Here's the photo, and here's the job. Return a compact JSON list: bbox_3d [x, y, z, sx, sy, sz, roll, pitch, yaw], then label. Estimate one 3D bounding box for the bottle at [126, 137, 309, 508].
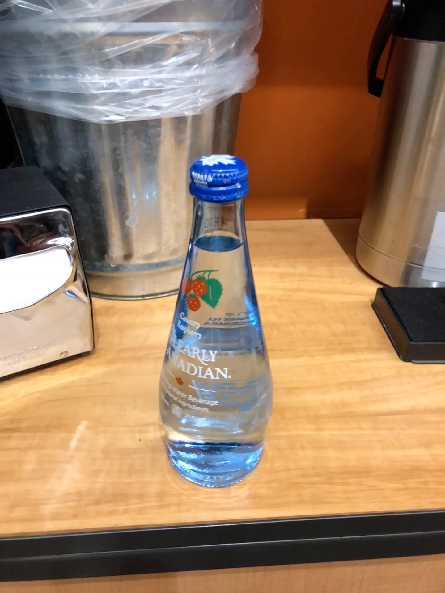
[{"bbox_3d":[-0.002,0.019,0.273,0.060,0.189,0.060,1,30,0],"label":"bottle"}]
